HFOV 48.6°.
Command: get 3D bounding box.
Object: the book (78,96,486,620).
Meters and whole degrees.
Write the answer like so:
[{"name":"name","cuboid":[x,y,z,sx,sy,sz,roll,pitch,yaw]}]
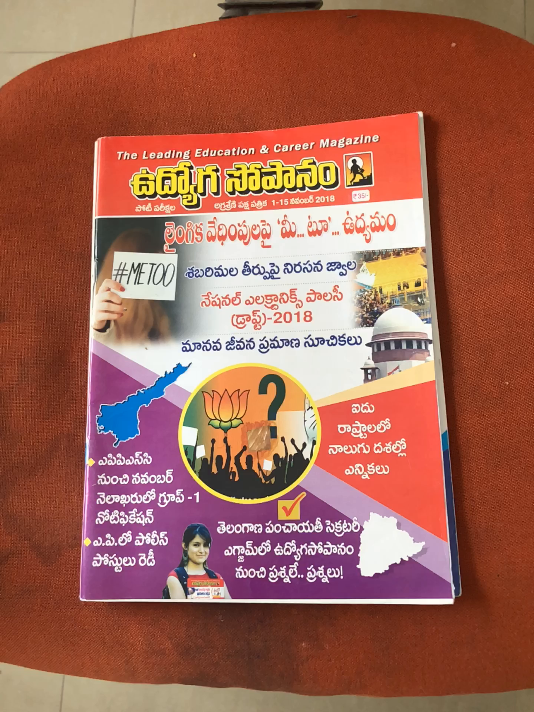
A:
[{"name":"book","cuboid":[0.002,-0.002,0.361,0.217,0.040,0.295,-3,79,8]}]
